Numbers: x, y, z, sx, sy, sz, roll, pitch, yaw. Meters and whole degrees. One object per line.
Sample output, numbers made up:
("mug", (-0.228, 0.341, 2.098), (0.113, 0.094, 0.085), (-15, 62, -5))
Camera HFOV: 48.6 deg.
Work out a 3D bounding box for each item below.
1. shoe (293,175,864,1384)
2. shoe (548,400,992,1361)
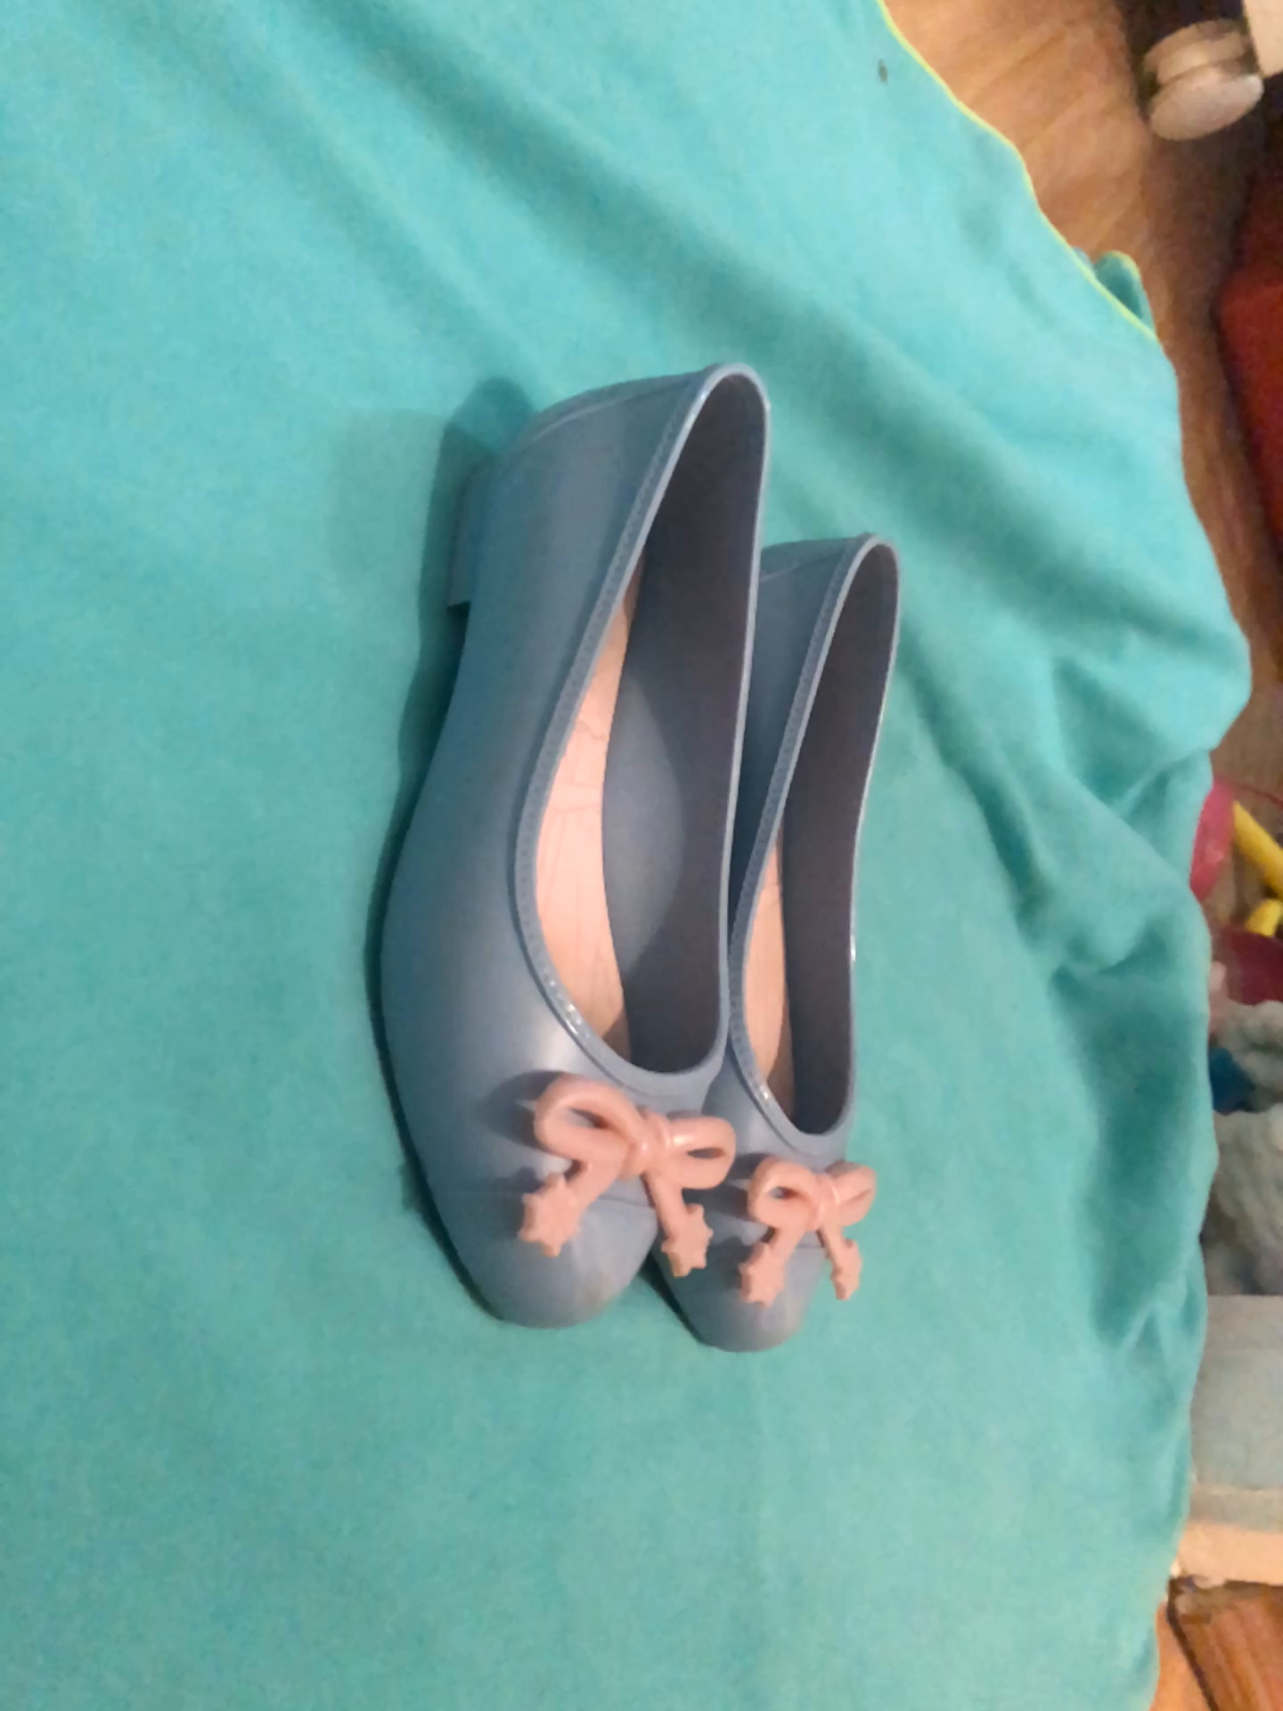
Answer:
("shoe", (-0.010, -0.009, 0.263), (0.081, 0.060, 0.190), (18, 67, -53))
("shoe", (0.028, 0.009, 0.322), (0.081, 0.060, 0.190), (18, 67, -53))
